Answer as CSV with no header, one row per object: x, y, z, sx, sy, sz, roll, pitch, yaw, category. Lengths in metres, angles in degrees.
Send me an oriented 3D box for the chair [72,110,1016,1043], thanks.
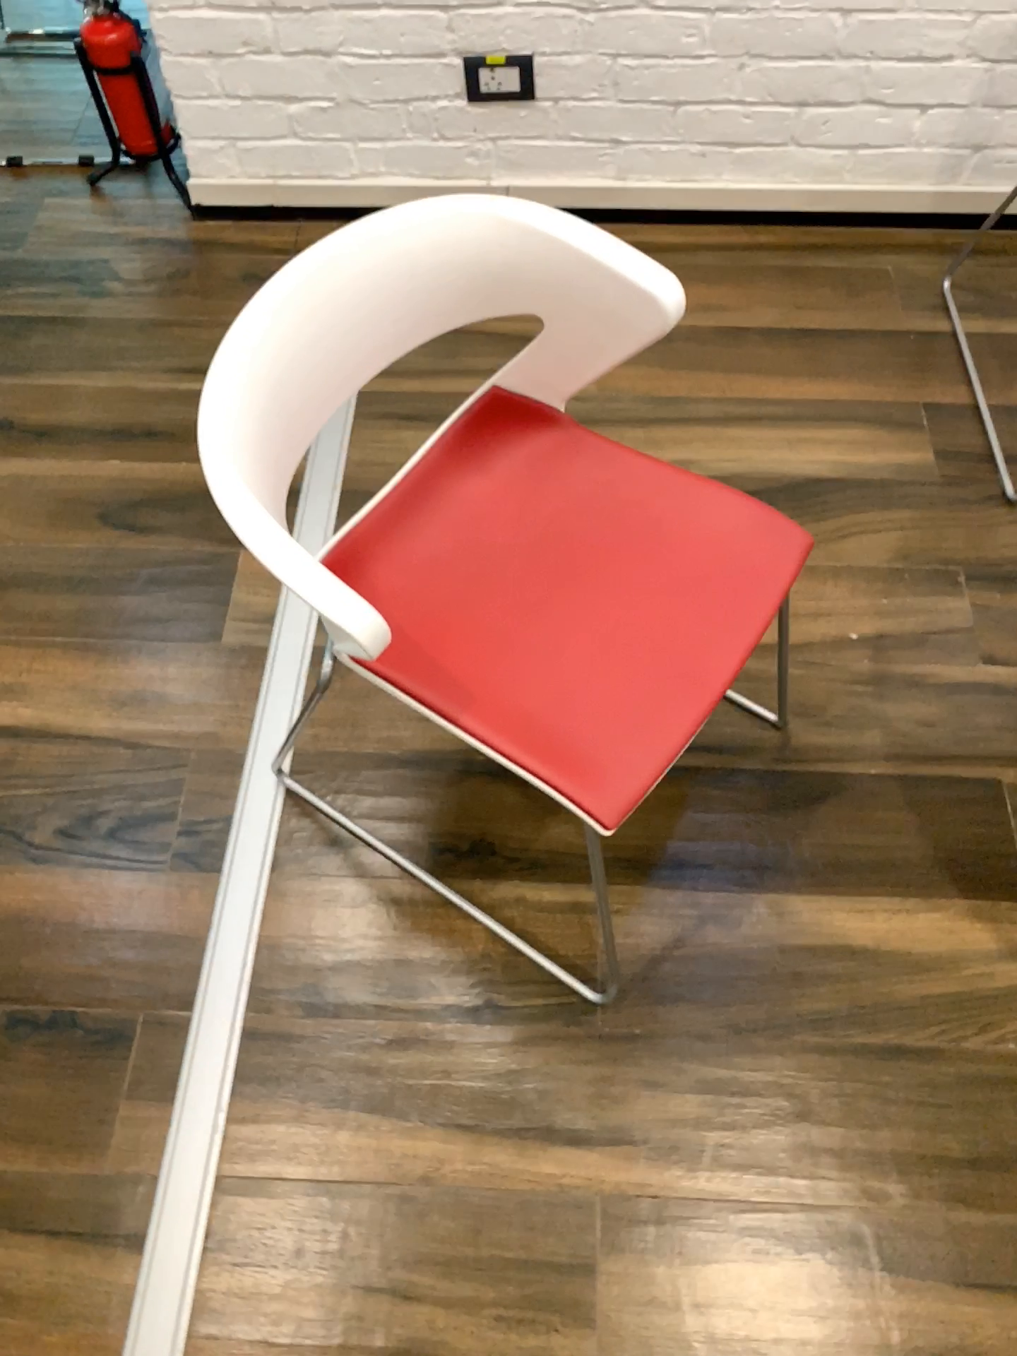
0.052,-0.092,1.219,0.641,0.676,0.592,31,63,18,chair
